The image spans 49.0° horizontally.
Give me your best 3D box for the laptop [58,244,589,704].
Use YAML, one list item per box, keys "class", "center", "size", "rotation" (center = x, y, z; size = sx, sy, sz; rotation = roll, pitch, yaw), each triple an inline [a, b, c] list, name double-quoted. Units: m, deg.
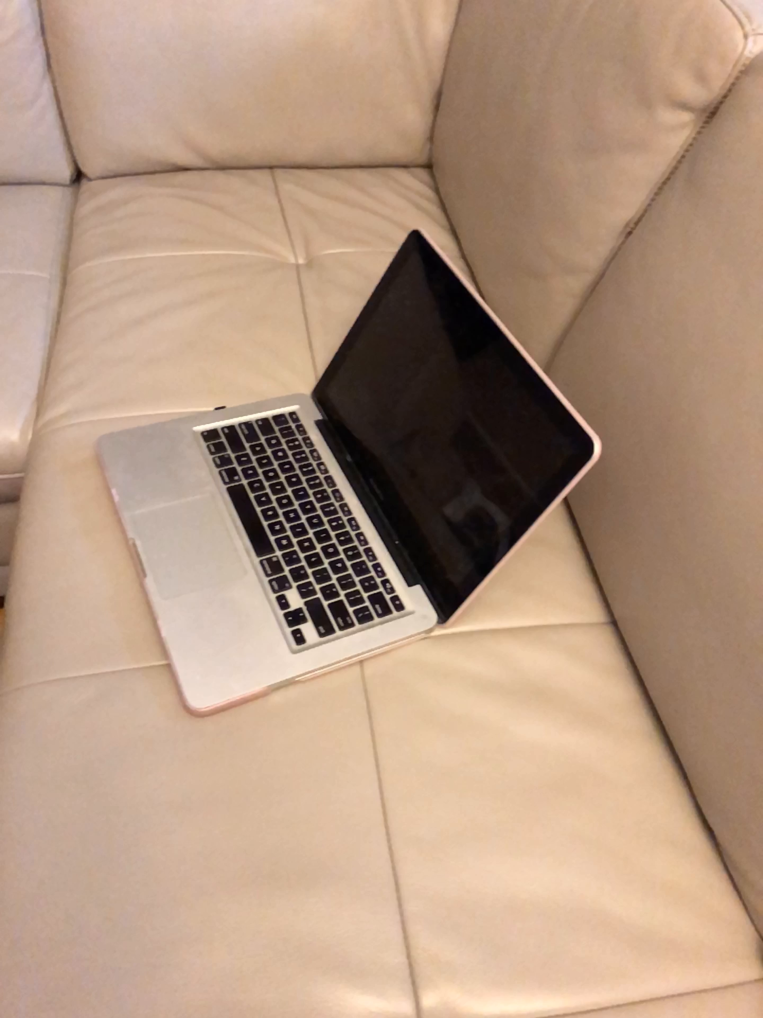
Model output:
- class: "laptop"
  center: [-0.060, -0.051, 0.727]
  size: [0.322, 0.166, 0.309]
  rotation: [-17, 53, -19]
